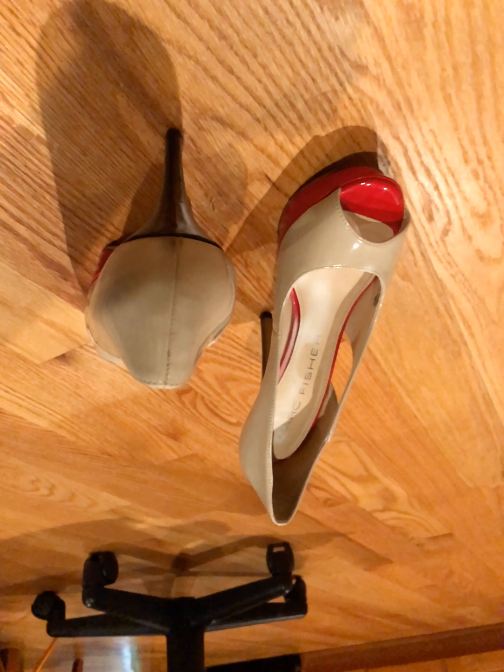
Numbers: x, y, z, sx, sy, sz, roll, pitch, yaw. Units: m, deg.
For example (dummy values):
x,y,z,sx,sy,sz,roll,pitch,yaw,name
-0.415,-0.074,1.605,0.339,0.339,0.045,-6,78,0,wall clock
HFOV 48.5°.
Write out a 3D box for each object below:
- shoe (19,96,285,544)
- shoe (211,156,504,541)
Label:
x,y,z,sx,sy,sz,roll,pitch,yaw,name
-0.069,0.015,0.301,0.085,0.129,0.216,7,144,-18,shoe
0.041,0.027,0.368,0.080,0.149,0.221,6,144,-17,shoe
